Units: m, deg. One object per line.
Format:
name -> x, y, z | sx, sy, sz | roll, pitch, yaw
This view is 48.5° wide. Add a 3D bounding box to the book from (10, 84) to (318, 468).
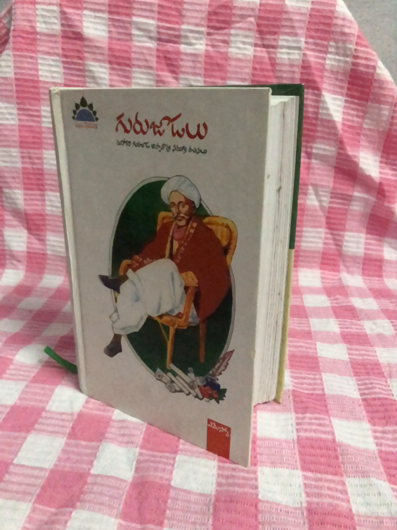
book -> -0.022, -0.004, 0.286 | 0.160, 0.209, 0.070 | 13, 26, 28
